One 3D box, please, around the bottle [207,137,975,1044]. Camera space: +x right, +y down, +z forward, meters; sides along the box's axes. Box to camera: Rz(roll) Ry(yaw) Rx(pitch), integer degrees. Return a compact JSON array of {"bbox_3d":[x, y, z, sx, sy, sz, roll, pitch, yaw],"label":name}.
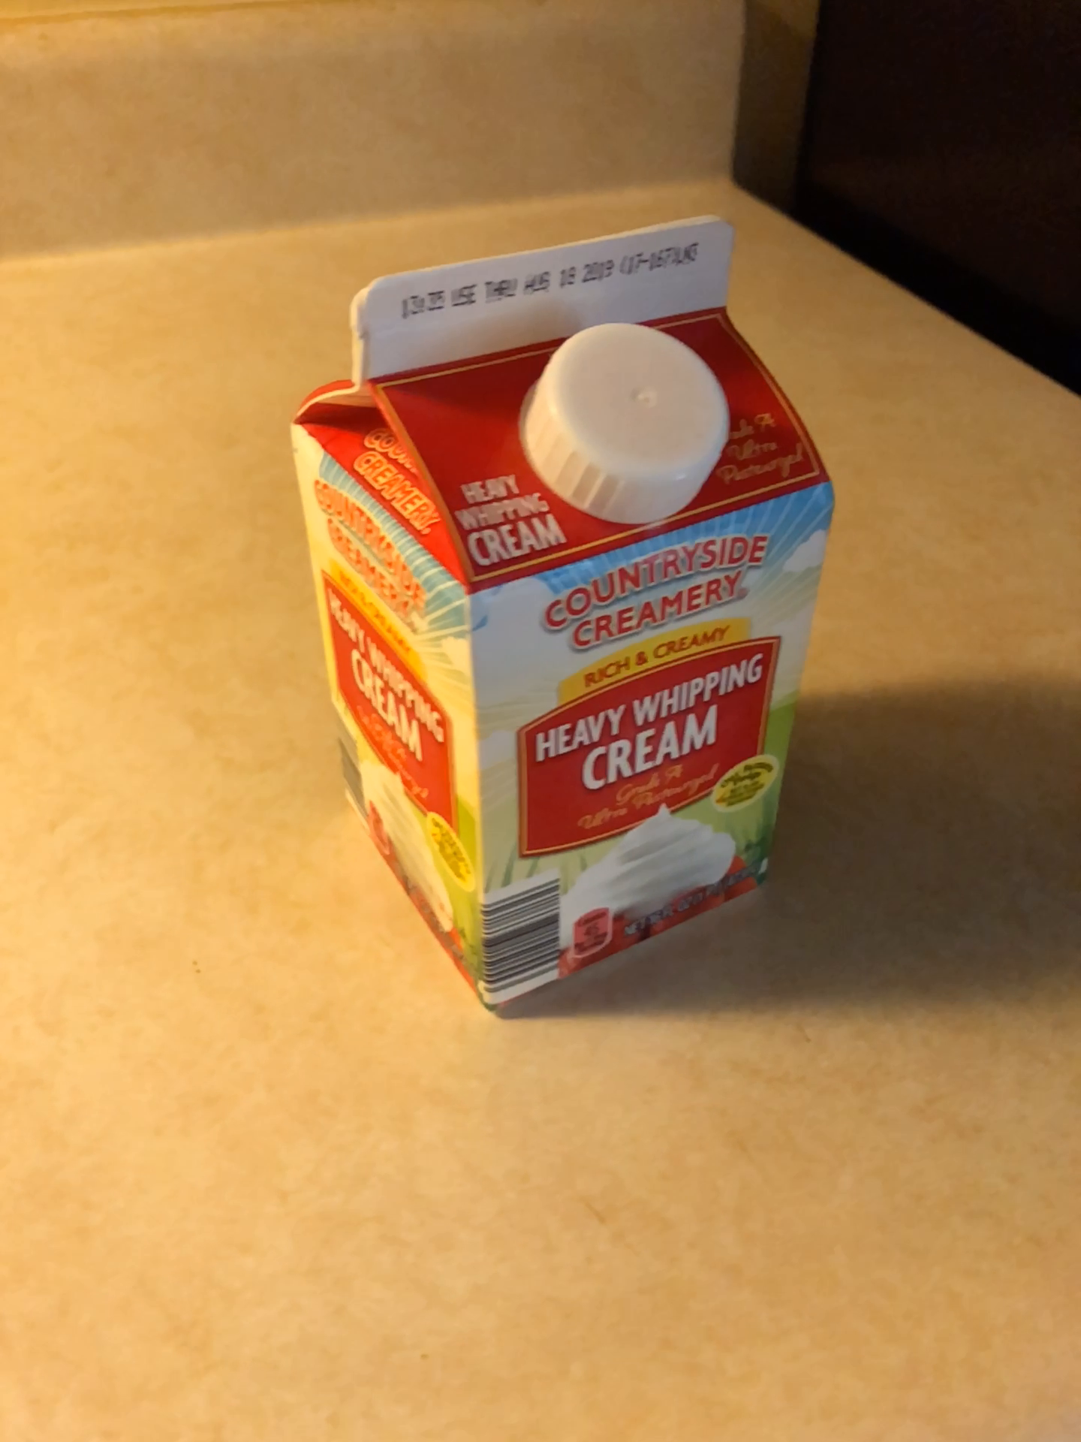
[{"bbox_3d":[0.004,-0.028,0.237,0.090,0.130,0.090,0,39,0],"label":"bottle"}]
